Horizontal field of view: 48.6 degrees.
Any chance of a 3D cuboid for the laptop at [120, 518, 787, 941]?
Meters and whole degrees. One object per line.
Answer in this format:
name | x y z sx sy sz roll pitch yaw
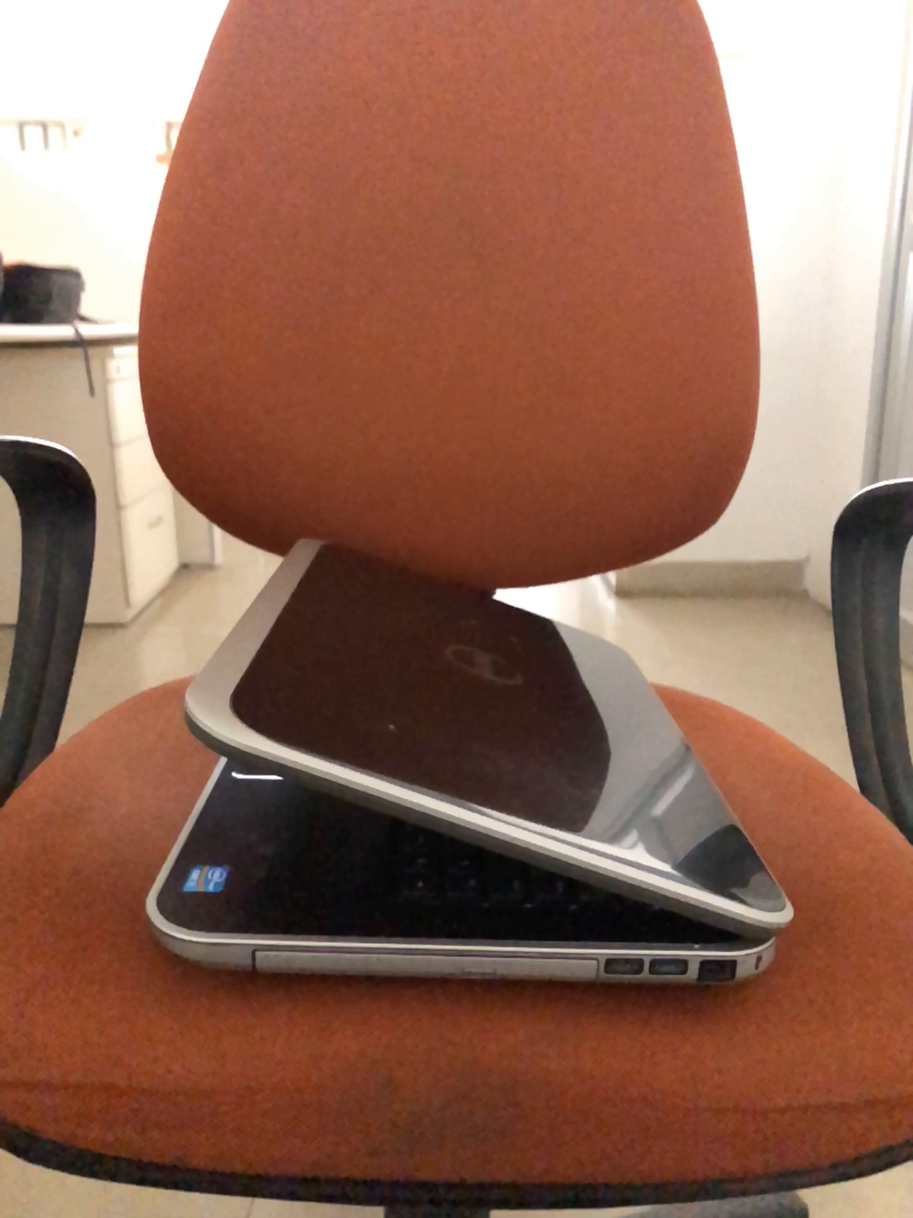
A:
laptop | -0.003 0.031 0.543 0.233 0.091 0.367 2 14 -2
